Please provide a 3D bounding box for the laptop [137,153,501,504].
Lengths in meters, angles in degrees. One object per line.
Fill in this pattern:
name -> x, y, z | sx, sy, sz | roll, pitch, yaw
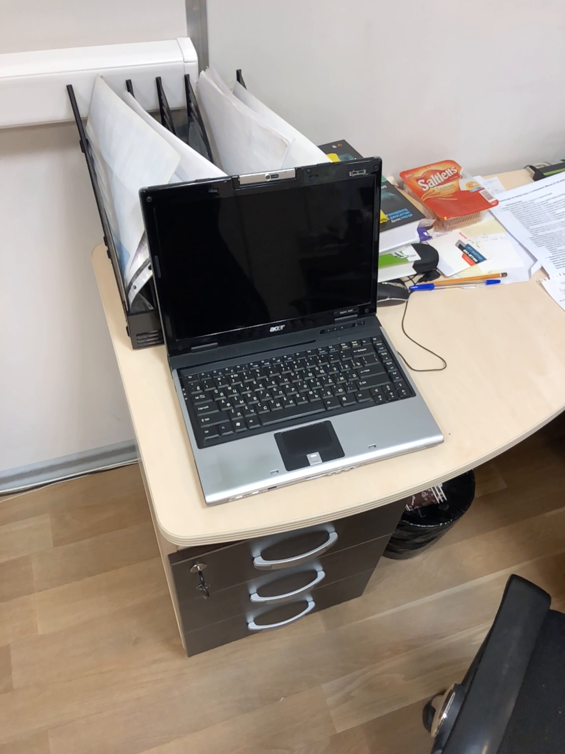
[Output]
laptop -> 0.020, -0.074, 0.792 | 0.326, 0.219, 0.324 | -12, 55, -14
